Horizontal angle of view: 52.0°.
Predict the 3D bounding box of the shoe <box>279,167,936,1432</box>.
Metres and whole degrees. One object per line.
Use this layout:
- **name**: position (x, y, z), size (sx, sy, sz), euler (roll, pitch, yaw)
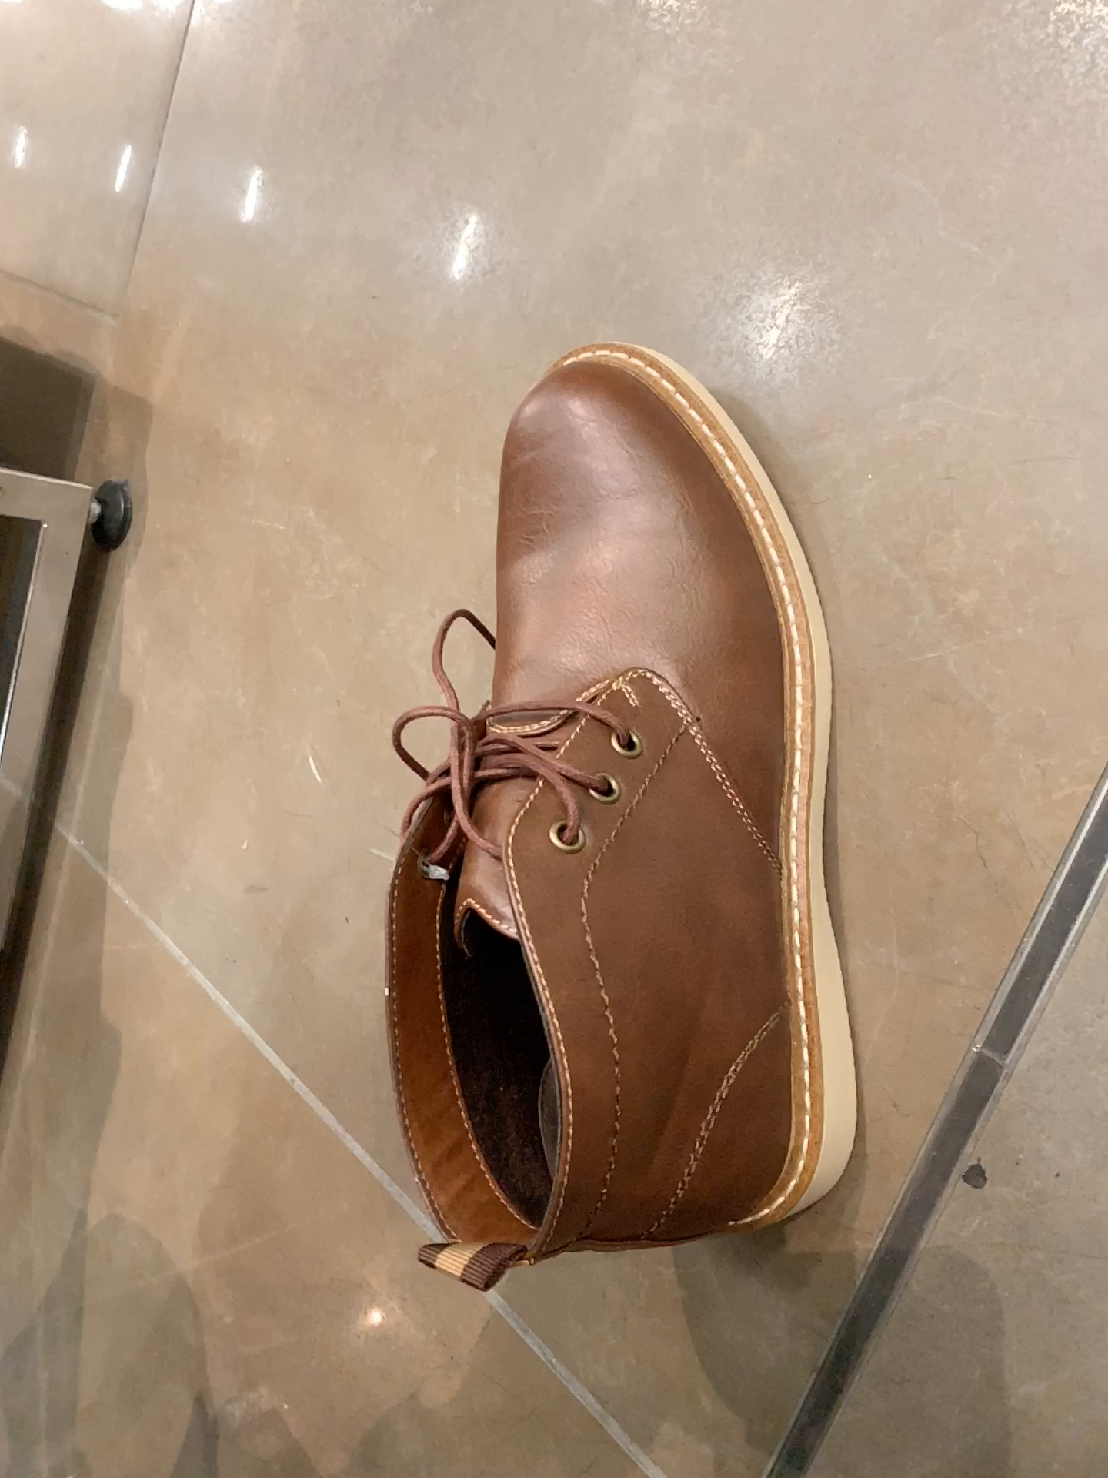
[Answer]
- **shoe**: position (0.012, 0.013, 0.341), size (0.107, 0.120, 0.295), euler (-15, 78, 40)
